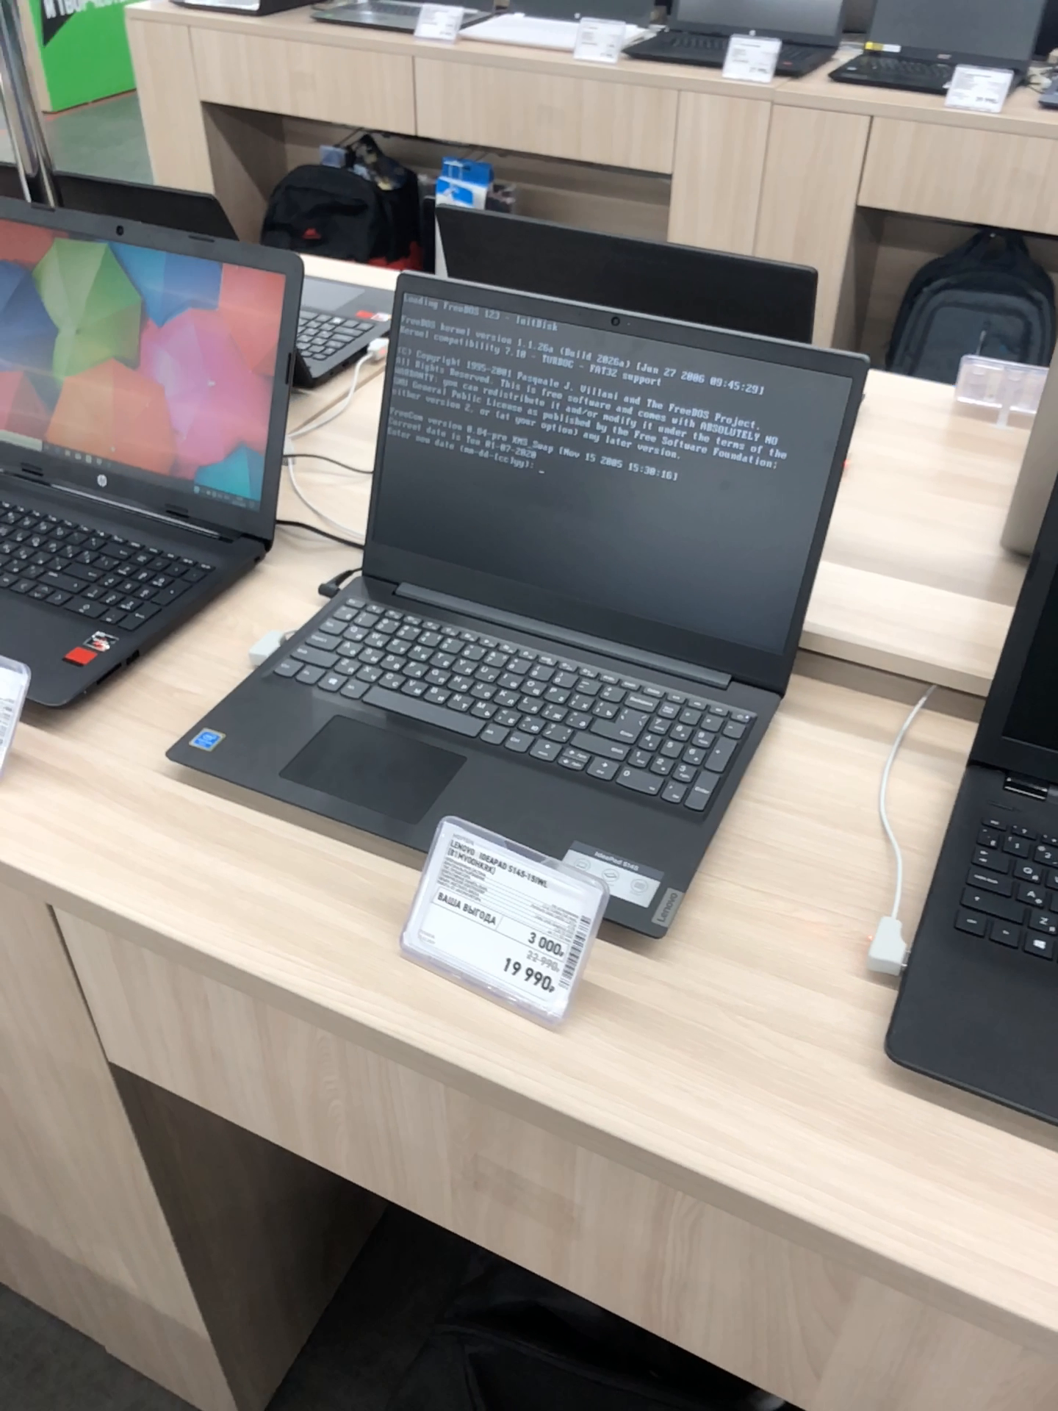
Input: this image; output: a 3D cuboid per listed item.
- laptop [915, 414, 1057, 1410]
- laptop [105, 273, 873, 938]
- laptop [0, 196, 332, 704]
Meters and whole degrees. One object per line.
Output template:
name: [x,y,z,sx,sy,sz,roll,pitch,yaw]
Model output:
laptop: [0.399,0.058,0.553,0.337,0.208,0.298,18,43,20]
laptop: [-0.008,-0.095,0.748,0.340,0.210,0.323,17,42,21]
laptop: [-0.403,-0.220,0.899,0.351,0.202,0.321,18,43,20]
